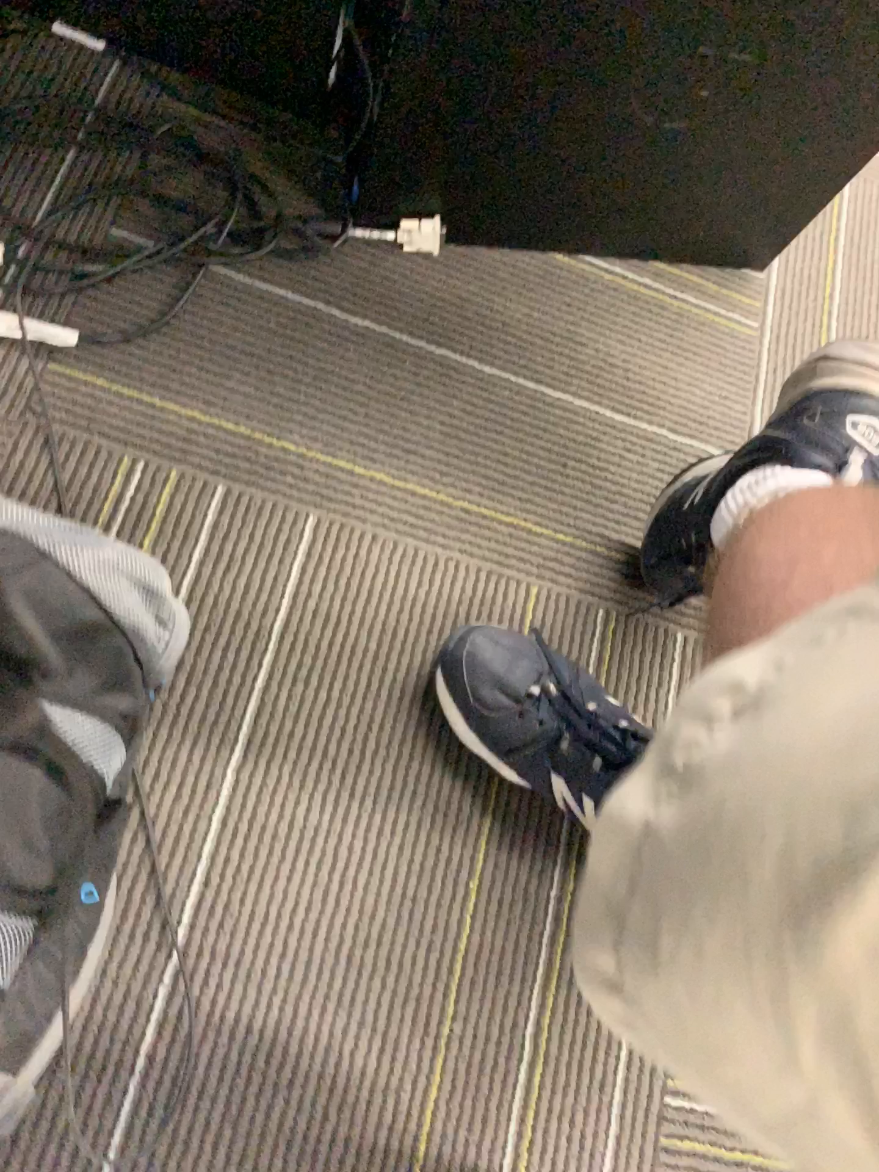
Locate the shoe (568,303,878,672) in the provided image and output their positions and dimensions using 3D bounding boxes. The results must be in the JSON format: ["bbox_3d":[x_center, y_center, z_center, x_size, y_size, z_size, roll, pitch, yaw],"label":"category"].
[{"bbox_3d":[0.239,-0.054,0.694,0.122,0.293,0.129,38,65,-2],"label":"shoe"}]

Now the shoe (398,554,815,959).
[{"bbox_3d":[0.124,0.129,0.688,0.296,0.077,0.120,43,67,1],"label":"shoe"}]
